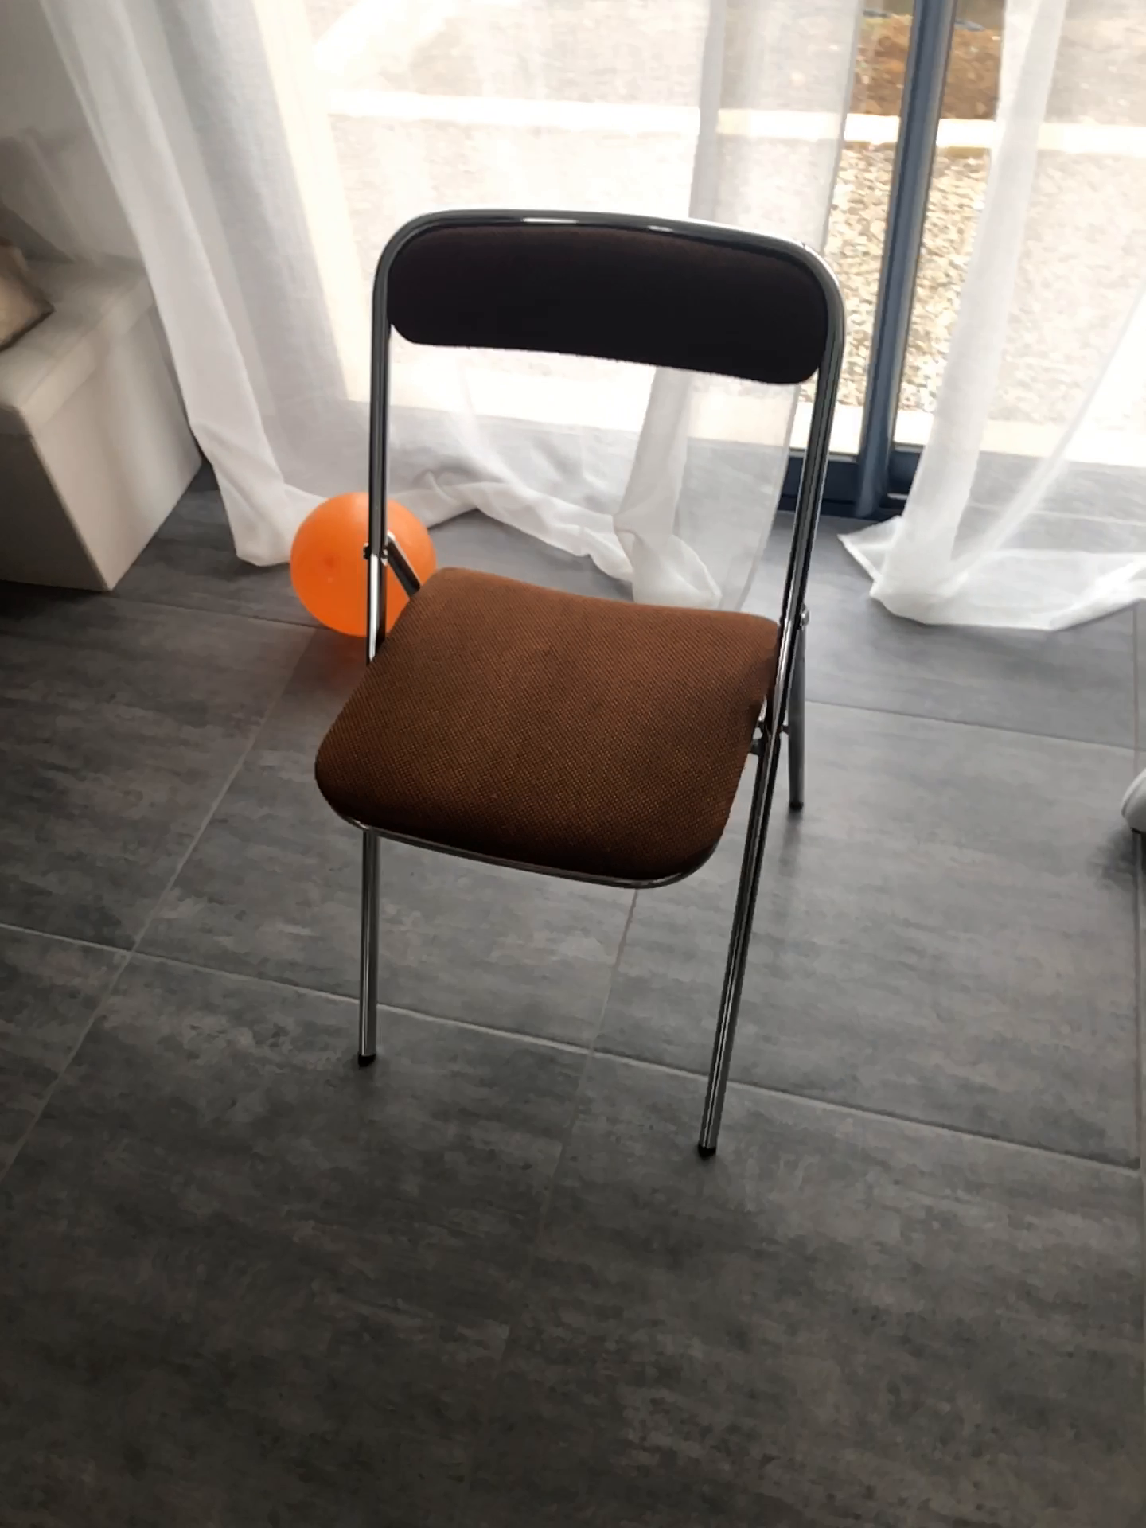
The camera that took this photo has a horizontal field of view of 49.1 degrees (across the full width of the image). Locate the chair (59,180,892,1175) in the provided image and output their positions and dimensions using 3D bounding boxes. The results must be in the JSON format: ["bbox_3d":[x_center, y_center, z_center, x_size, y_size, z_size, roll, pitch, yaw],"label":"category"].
[{"bbox_3d":[-0.014,-0.065,1.241,0.480,0.736,0.553,11,51,14],"label":"chair"}]
